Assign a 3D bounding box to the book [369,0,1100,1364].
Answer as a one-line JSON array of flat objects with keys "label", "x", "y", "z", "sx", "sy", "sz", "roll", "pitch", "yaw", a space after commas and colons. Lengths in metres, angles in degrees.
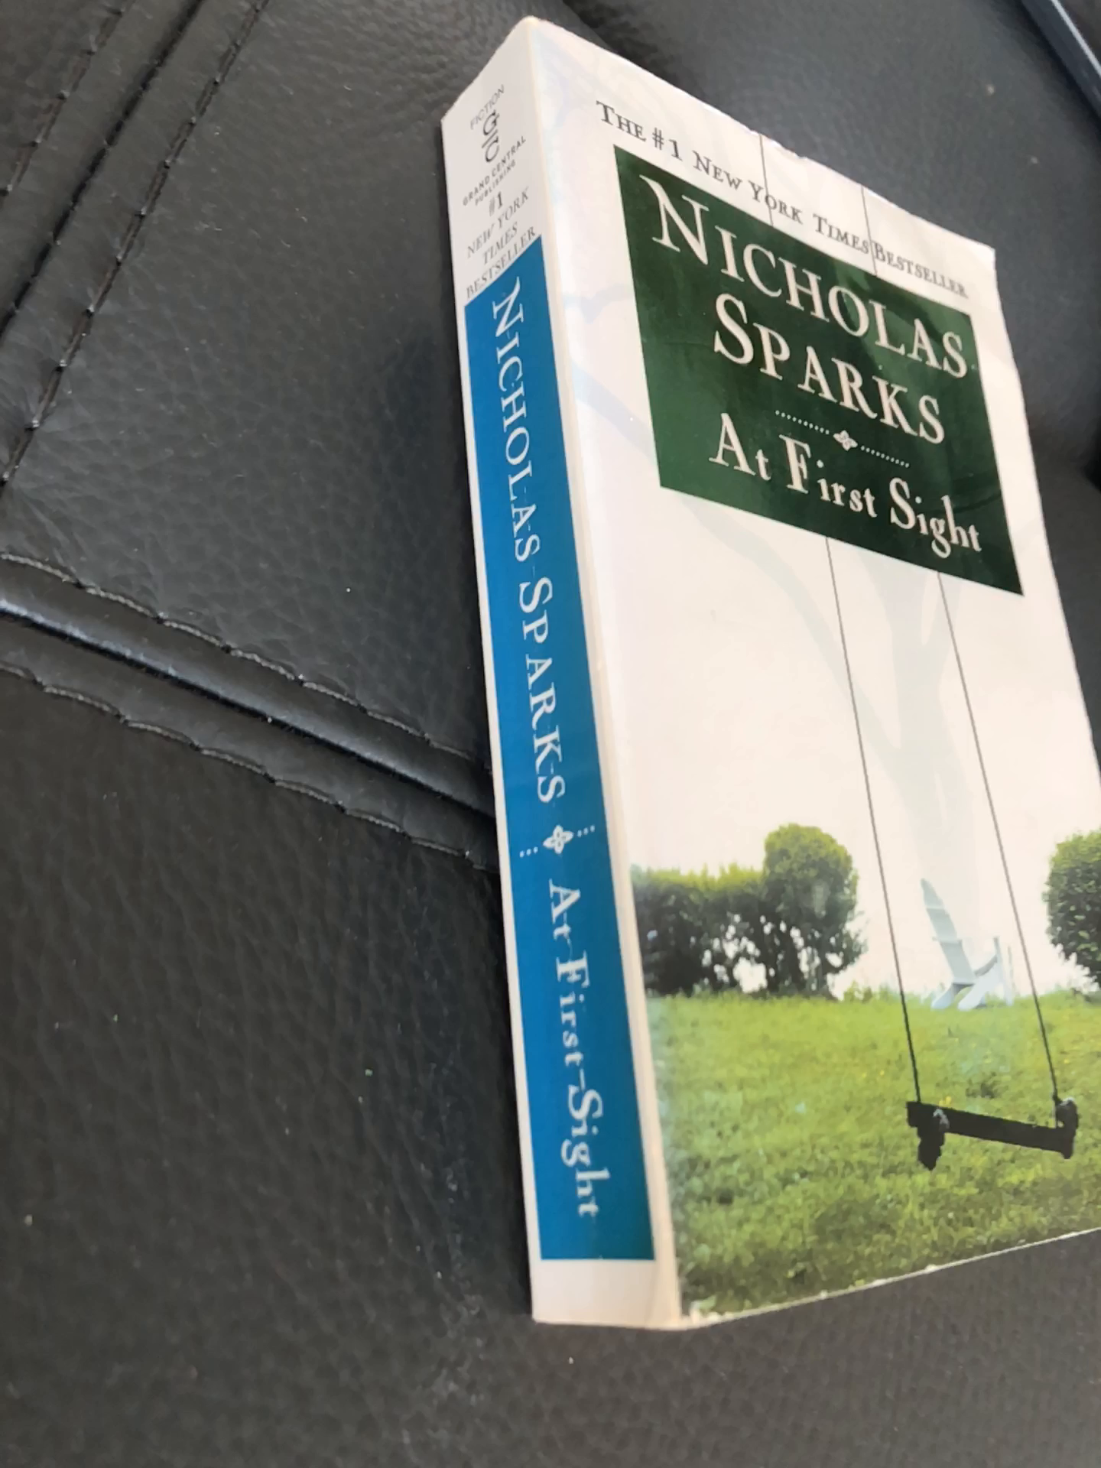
[{"label": "book", "x": 0.036, "y": -0.021, "z": 0.191, "sx": 0.121, "sy": 0.030, "sz": 0.190, "roll": 9, "pitch": 68, "yaw": -38}]
